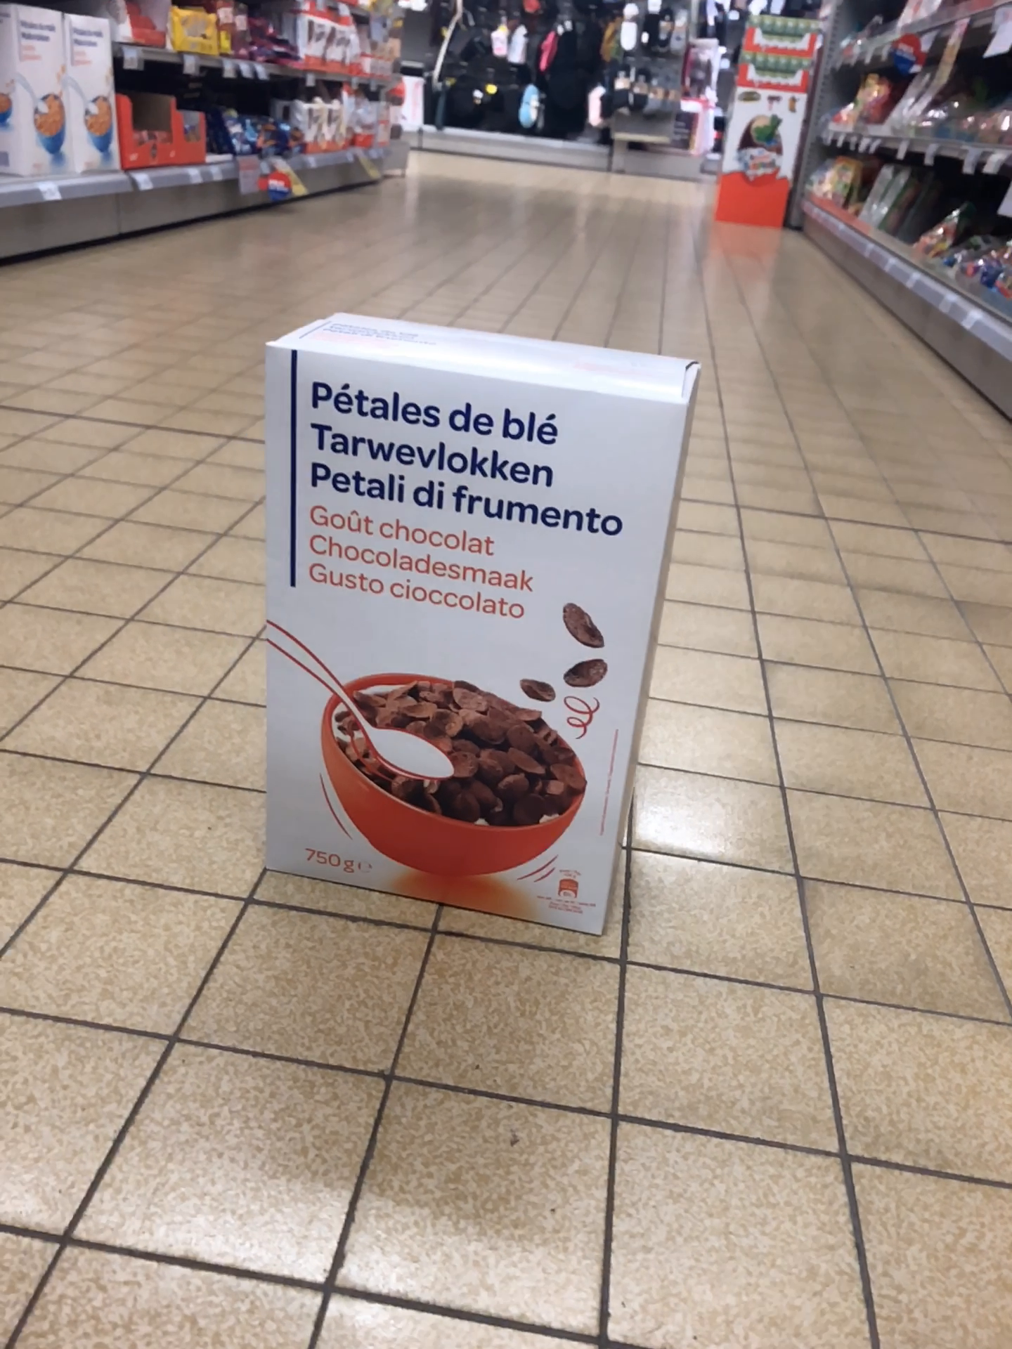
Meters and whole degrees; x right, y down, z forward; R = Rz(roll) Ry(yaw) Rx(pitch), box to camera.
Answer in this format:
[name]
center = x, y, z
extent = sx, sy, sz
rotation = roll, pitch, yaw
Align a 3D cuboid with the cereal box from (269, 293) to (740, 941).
[cereal box]
center = -0.008, -0.028, 0.575
extent = 0.200, 0.288, 0.101
rotation = 10, 26, 7
